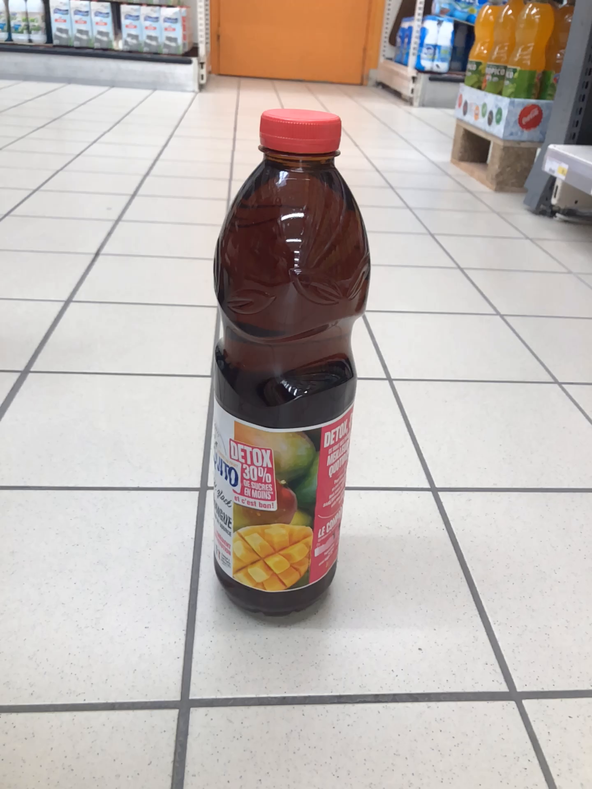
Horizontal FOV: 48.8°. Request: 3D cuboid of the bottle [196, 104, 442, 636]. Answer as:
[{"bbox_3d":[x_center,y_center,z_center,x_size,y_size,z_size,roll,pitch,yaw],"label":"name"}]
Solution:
[{"bbox_3d":[-0.003,-0.008,0.386,0.090,0.288,0.100,-6,30,-19],"label":"bottle"}]
